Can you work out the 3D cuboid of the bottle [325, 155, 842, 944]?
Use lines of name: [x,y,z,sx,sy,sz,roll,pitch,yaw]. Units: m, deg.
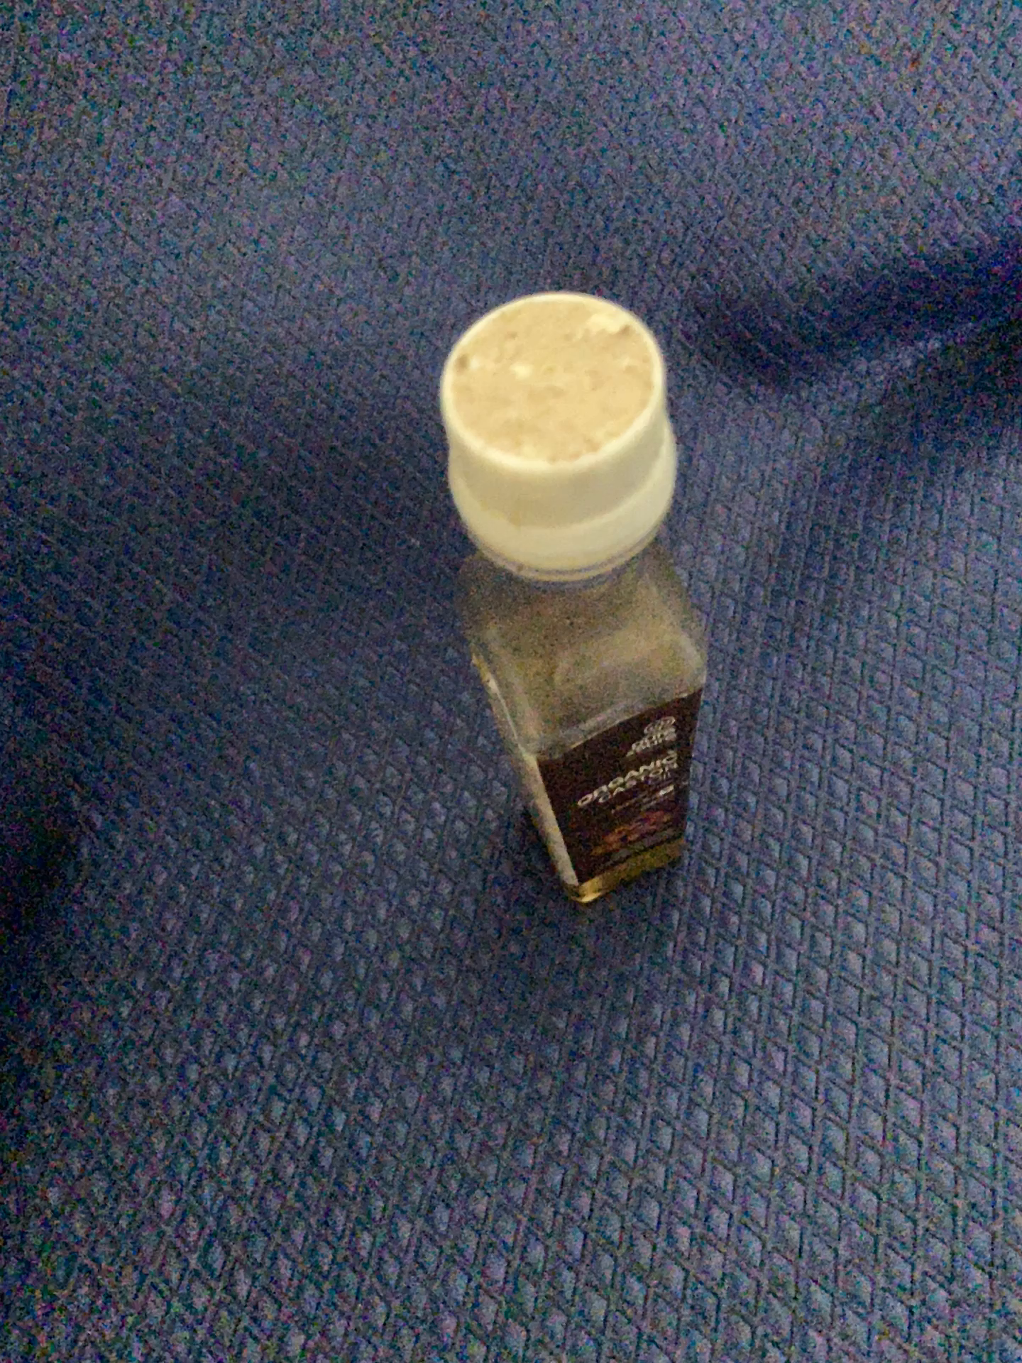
bottle: [0.020,0.000,0.226,0.050,0.199,0.050,-3,63,7]
